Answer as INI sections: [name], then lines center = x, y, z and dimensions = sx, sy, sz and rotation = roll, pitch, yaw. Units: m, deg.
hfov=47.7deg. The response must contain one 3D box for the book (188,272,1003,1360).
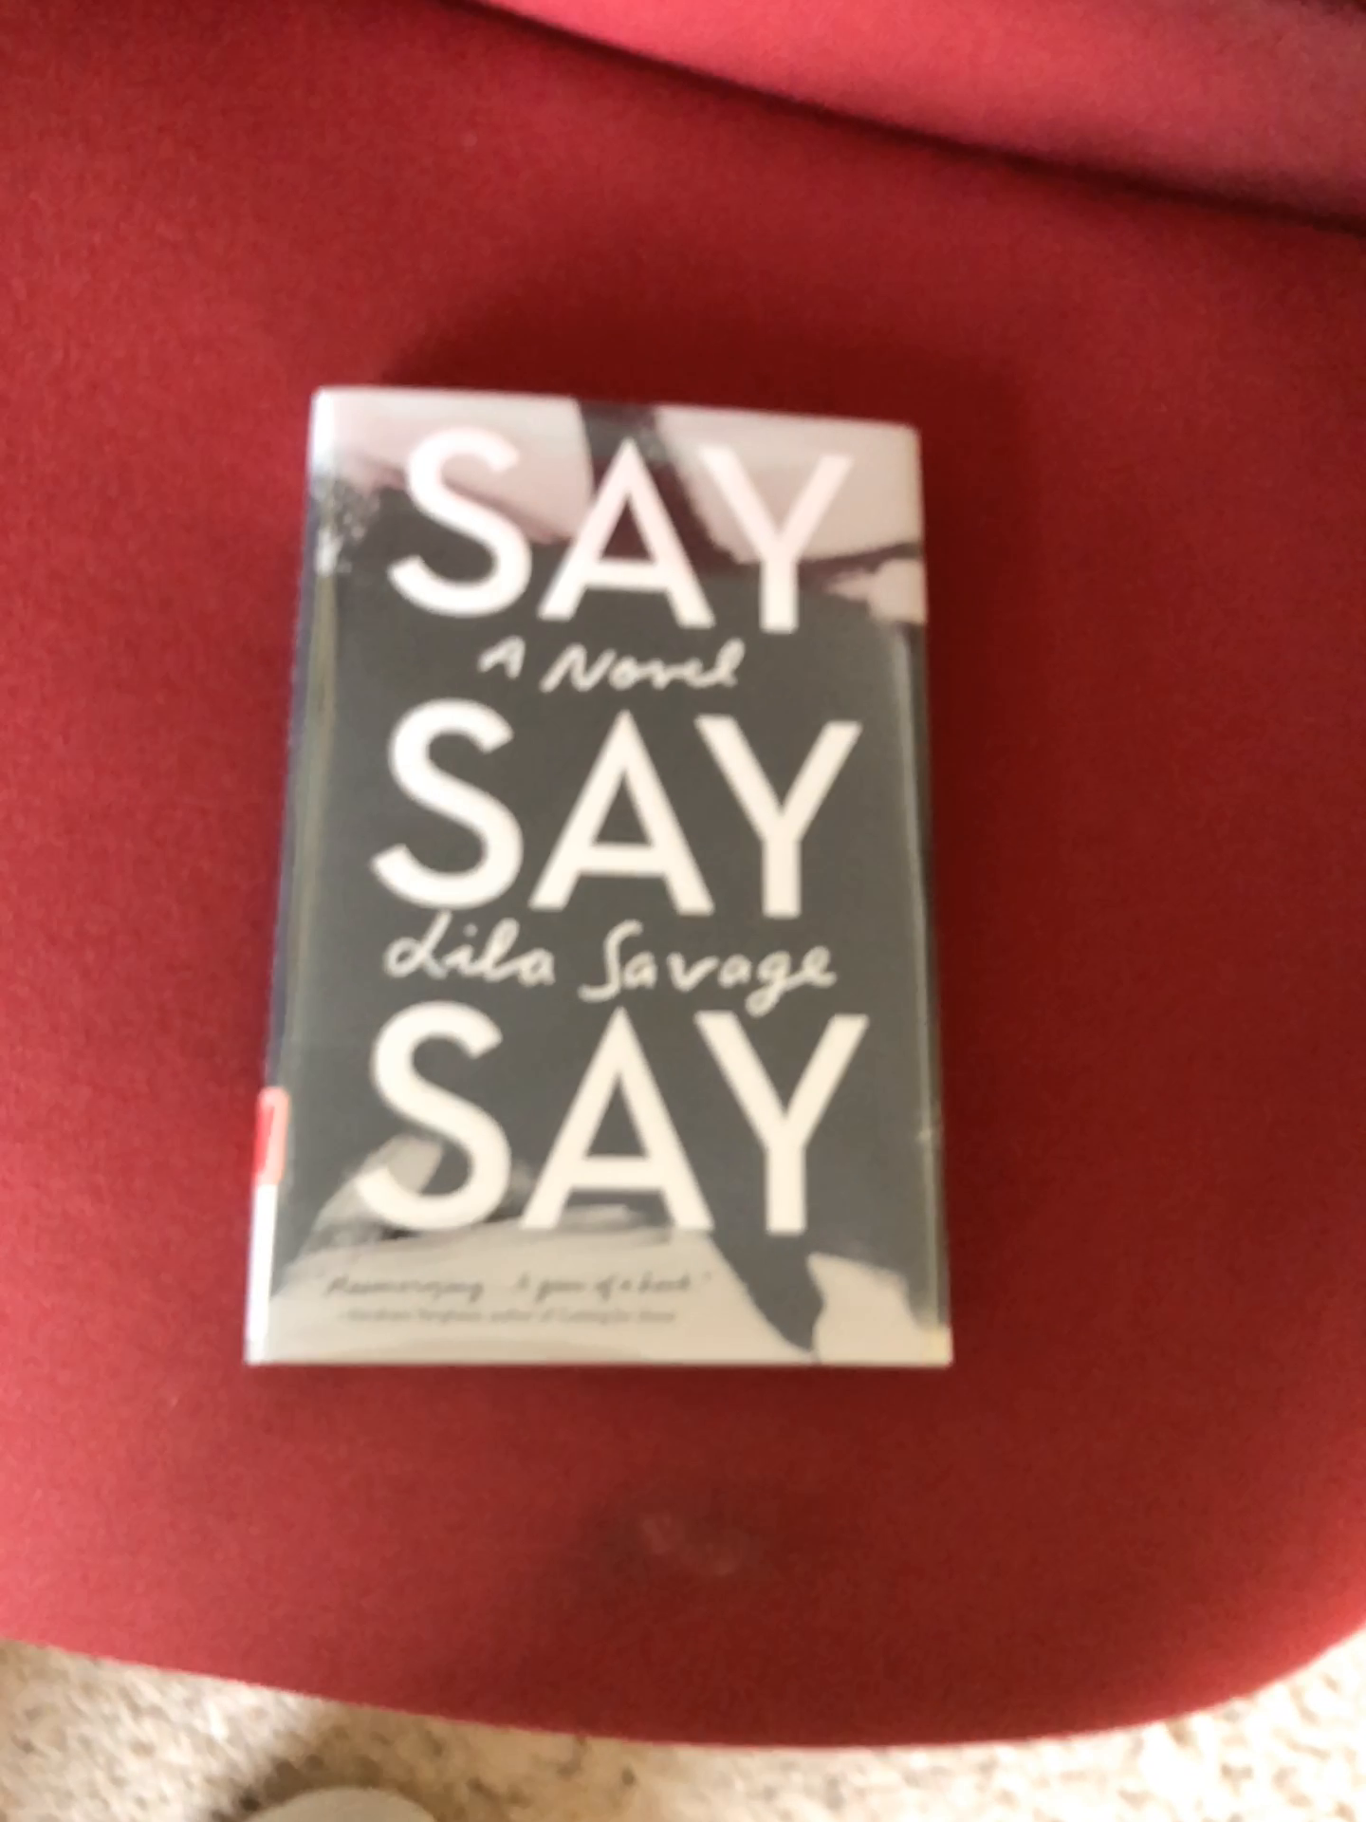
[book]
center = -0.015, -0.018, 0.320
dimensions = 0.150, 0.040, 0.210
rotation = 2, 81, -7
